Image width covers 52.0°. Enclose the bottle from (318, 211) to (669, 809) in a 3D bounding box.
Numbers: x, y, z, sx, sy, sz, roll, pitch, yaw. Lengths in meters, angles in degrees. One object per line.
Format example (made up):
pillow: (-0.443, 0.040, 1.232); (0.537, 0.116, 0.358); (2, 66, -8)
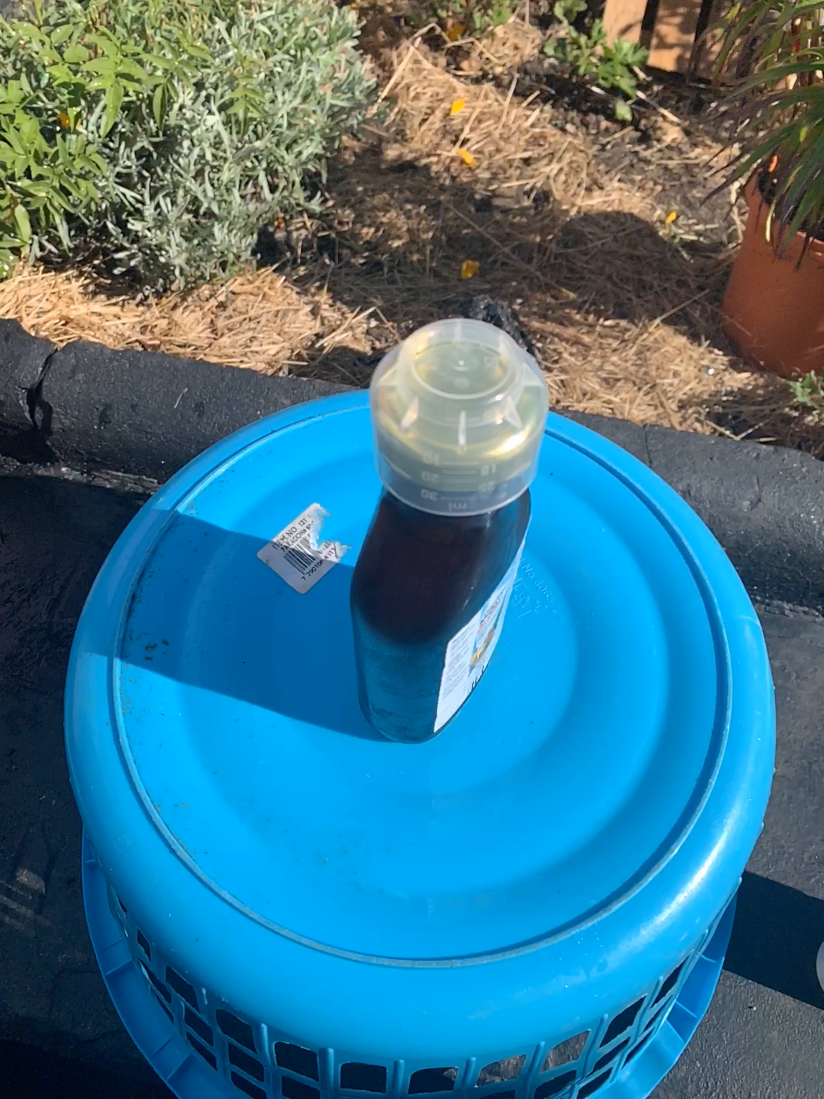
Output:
bottle: (0.017, 0.006, 0.278); (0.050, 0.198, 0.081); (28, 58, 16)
